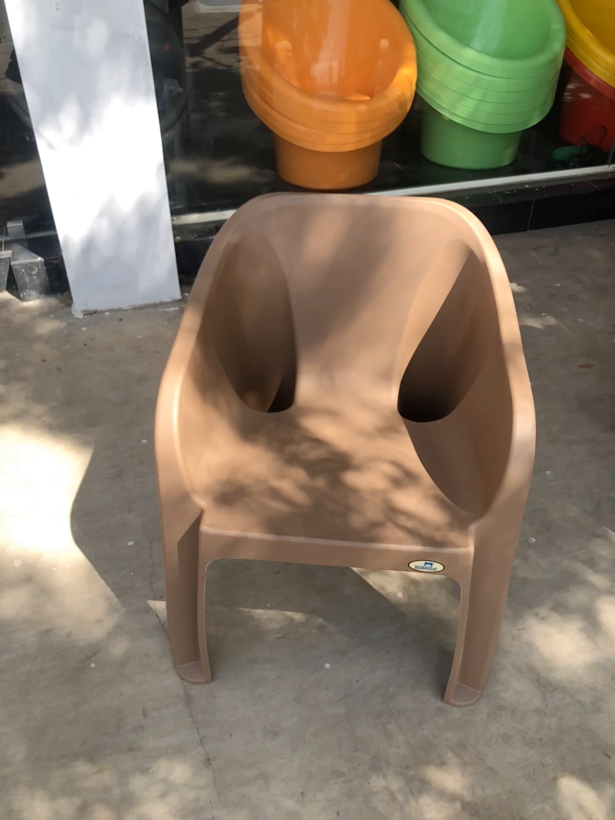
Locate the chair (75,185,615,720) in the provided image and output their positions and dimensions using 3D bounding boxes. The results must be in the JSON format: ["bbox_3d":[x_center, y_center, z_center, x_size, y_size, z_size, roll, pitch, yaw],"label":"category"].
[{"bbox_3d":[0.073,0.037,1.257,0.640,0.636,0.724,3,38,3],"label":"chair"}]
